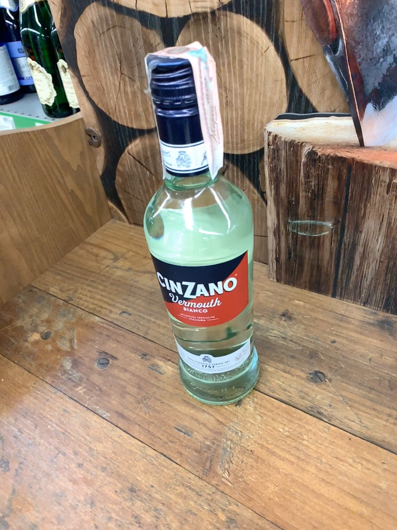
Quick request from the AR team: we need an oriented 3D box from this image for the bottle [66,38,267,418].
[{"bbox_3d":[0.001,-0.004,0.259,0.070,0.231,0.070,-5,39,4],"label":"bottle"}]
